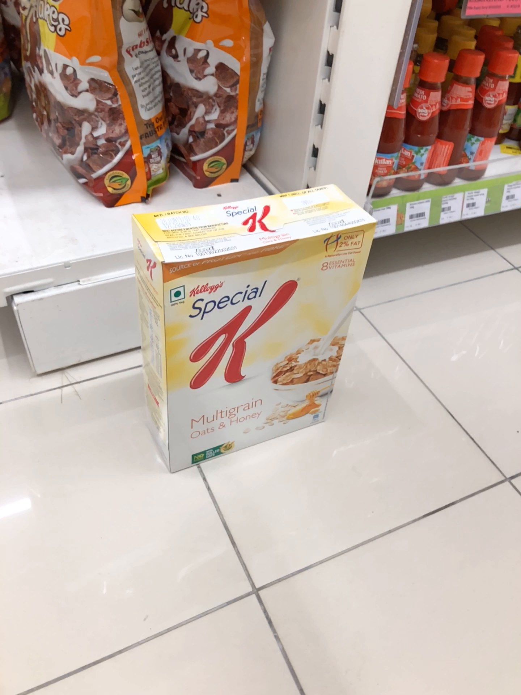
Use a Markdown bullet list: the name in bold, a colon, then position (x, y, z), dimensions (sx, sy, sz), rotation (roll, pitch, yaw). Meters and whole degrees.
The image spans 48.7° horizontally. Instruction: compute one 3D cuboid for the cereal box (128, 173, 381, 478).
- **cereal box**: position (-0.015, -0.013, 0.547), dimensions (0.191, 0.268, 0.070), rotation (-15, 47, -23)
